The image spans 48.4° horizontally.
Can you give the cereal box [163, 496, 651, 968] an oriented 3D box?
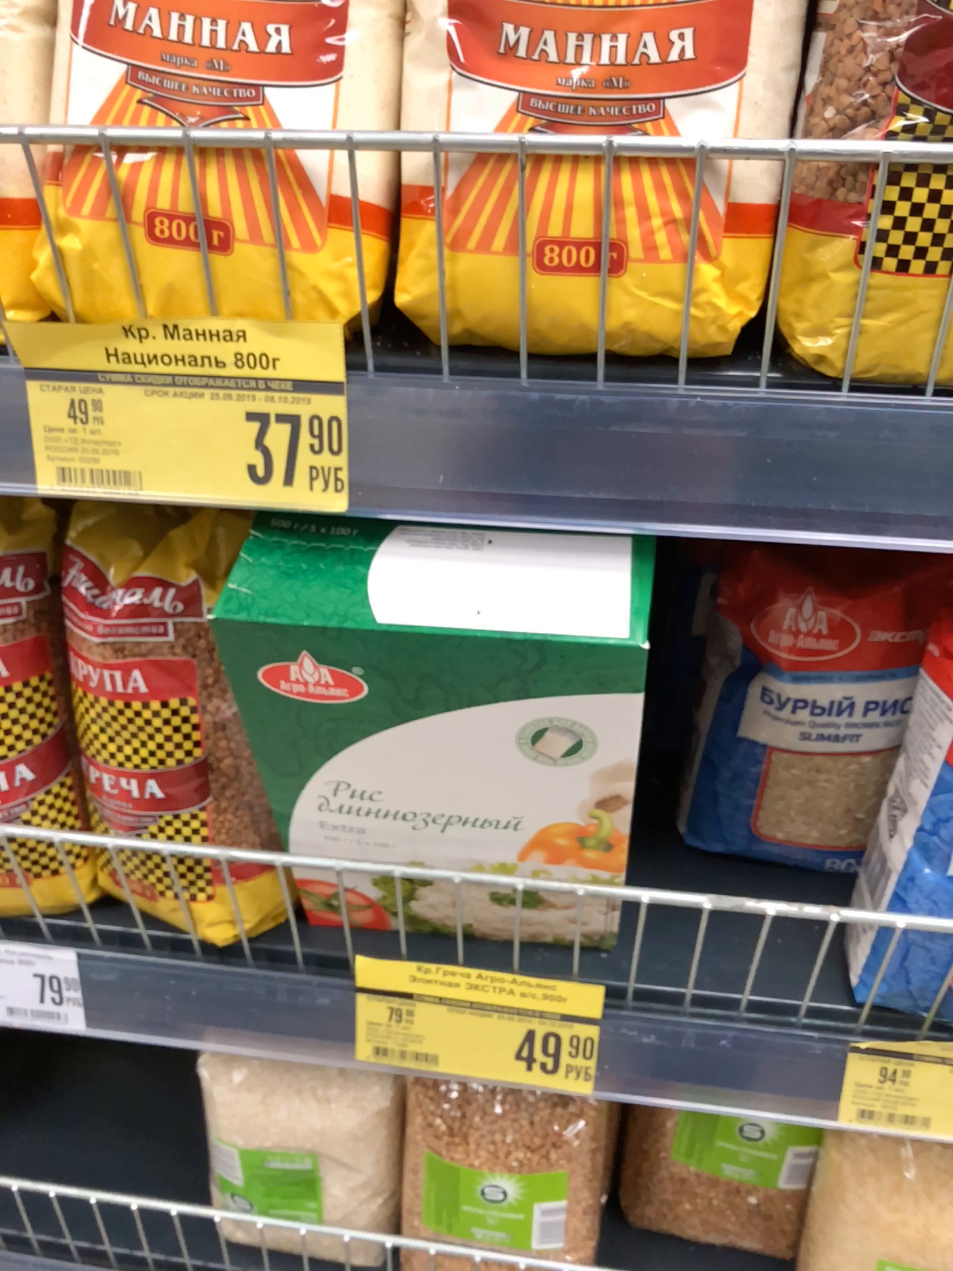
[{"bbox_3d":[-0.014,0.048,0.396,0.140,0.209,0.050,4,49,7],"label":"cereal box"}]
